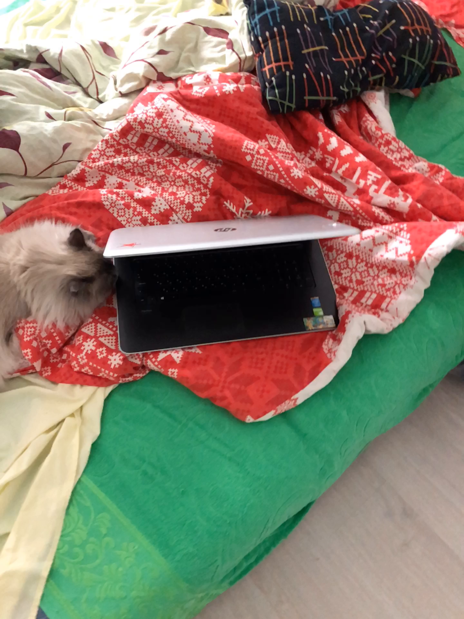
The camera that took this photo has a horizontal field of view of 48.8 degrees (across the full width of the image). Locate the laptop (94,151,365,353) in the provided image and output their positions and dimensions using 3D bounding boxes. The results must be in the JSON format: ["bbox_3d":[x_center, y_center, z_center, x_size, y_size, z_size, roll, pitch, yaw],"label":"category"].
[{"bbox_3d":[-0.013,-0.107,0.925,0.413,0.176,0.277,-7,60,-7],"label":"laptop"}]
